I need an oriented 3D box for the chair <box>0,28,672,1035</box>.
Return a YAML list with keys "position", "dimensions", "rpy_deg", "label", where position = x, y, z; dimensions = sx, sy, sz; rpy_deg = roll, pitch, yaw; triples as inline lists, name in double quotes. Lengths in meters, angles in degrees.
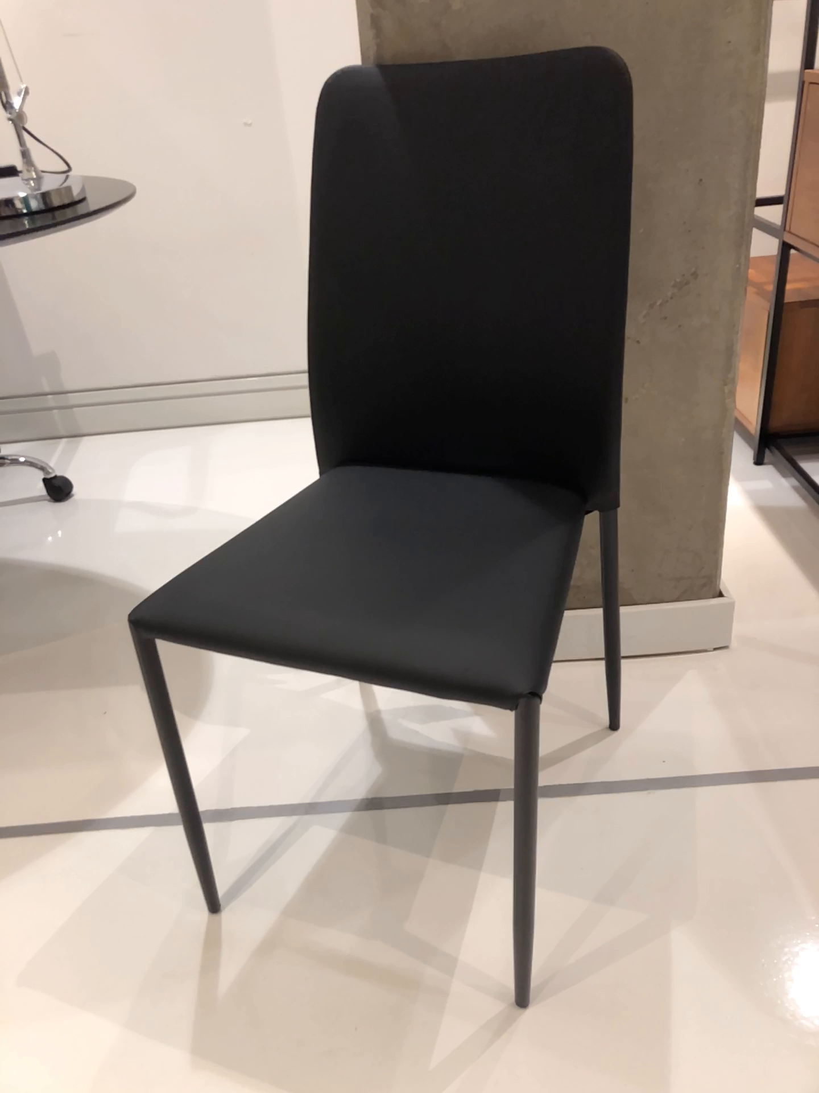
- position: [-0.016, -0.044, 1.014]
  dimensions: [0.471, 0.883, 0.543]
  rpy_deg: [8, 32, 23]
  label: "chair"
